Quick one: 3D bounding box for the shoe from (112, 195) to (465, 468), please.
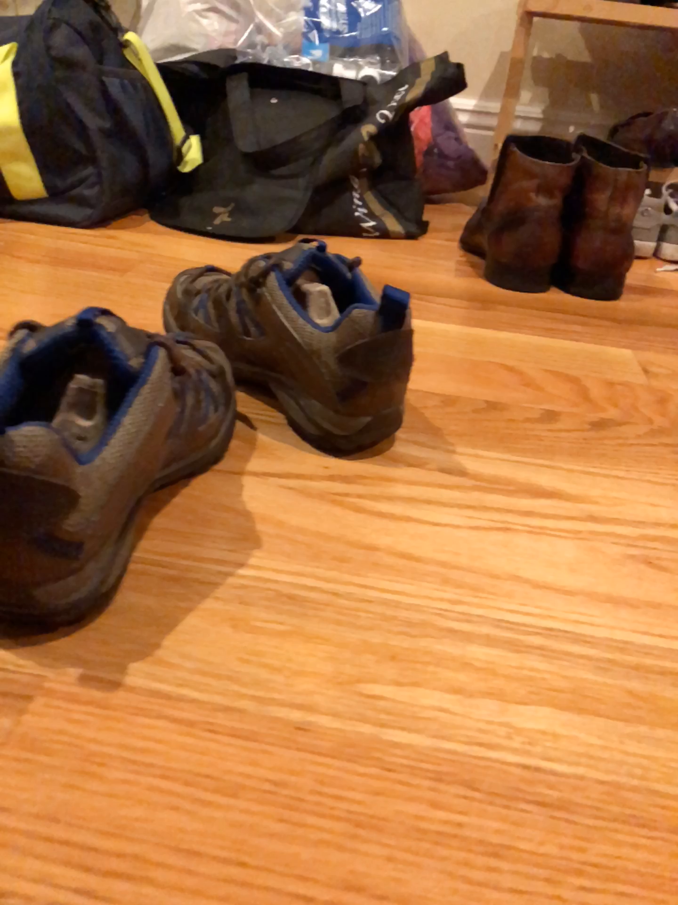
[{"bbox_3d":[-0.049,-0.098,0.510,0.097,0.094,0.252,-19,38,-38],"label":"shoe"}]

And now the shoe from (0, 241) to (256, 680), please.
[{"bbox_3d":[-0.121,-0.020,0.379,0.094,0.106,0.241,9,29,6],"label":"shoe"}]
